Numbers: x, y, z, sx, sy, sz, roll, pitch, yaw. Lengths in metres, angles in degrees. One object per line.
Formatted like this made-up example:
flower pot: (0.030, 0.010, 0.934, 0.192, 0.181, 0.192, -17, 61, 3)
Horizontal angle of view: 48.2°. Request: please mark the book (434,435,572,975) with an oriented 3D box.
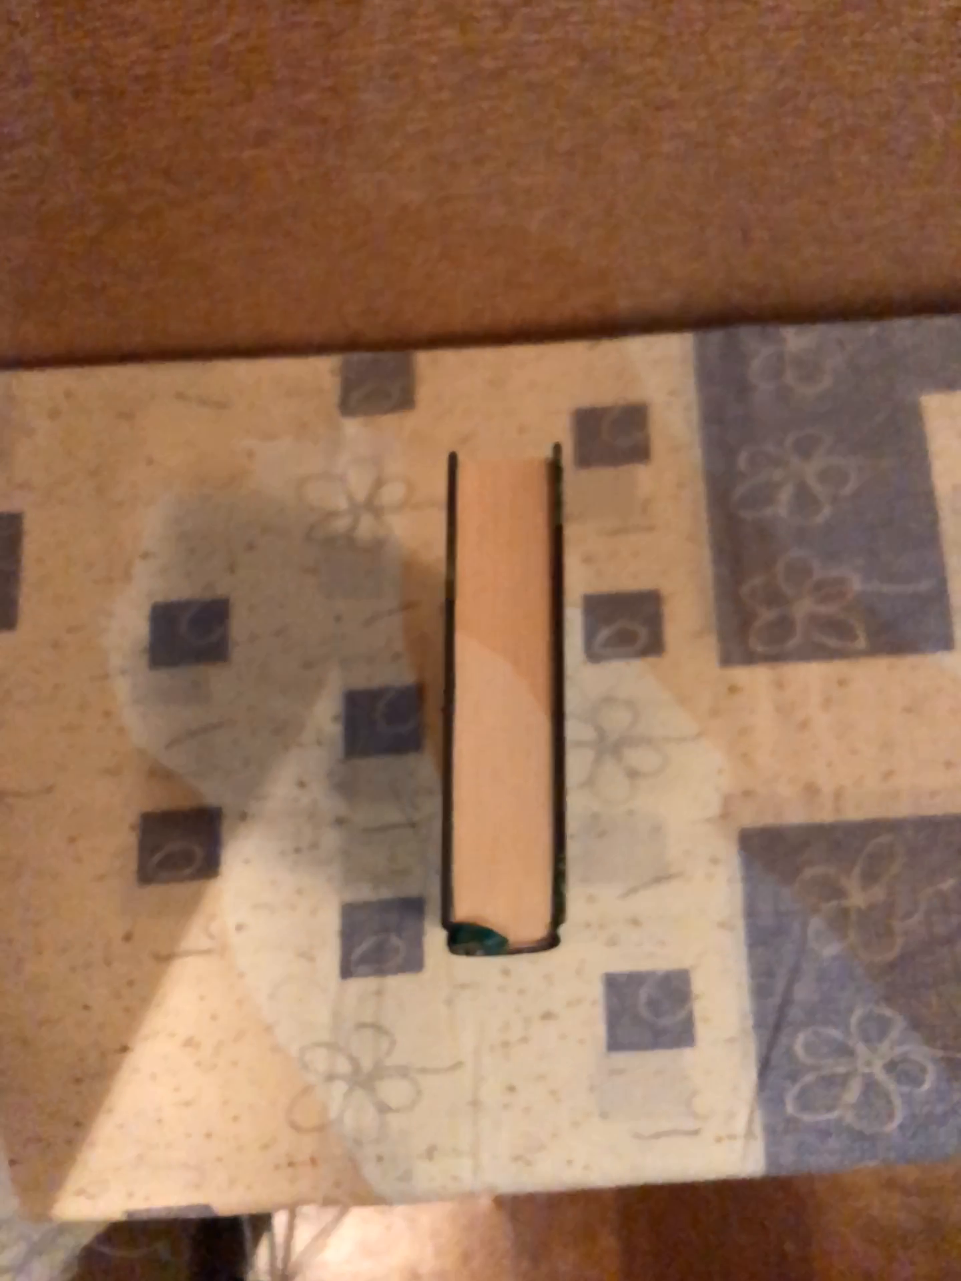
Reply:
book: (0.014, 0.044, 0.440, 0.040, 0.217, 0.173, -1, 74, 4)
